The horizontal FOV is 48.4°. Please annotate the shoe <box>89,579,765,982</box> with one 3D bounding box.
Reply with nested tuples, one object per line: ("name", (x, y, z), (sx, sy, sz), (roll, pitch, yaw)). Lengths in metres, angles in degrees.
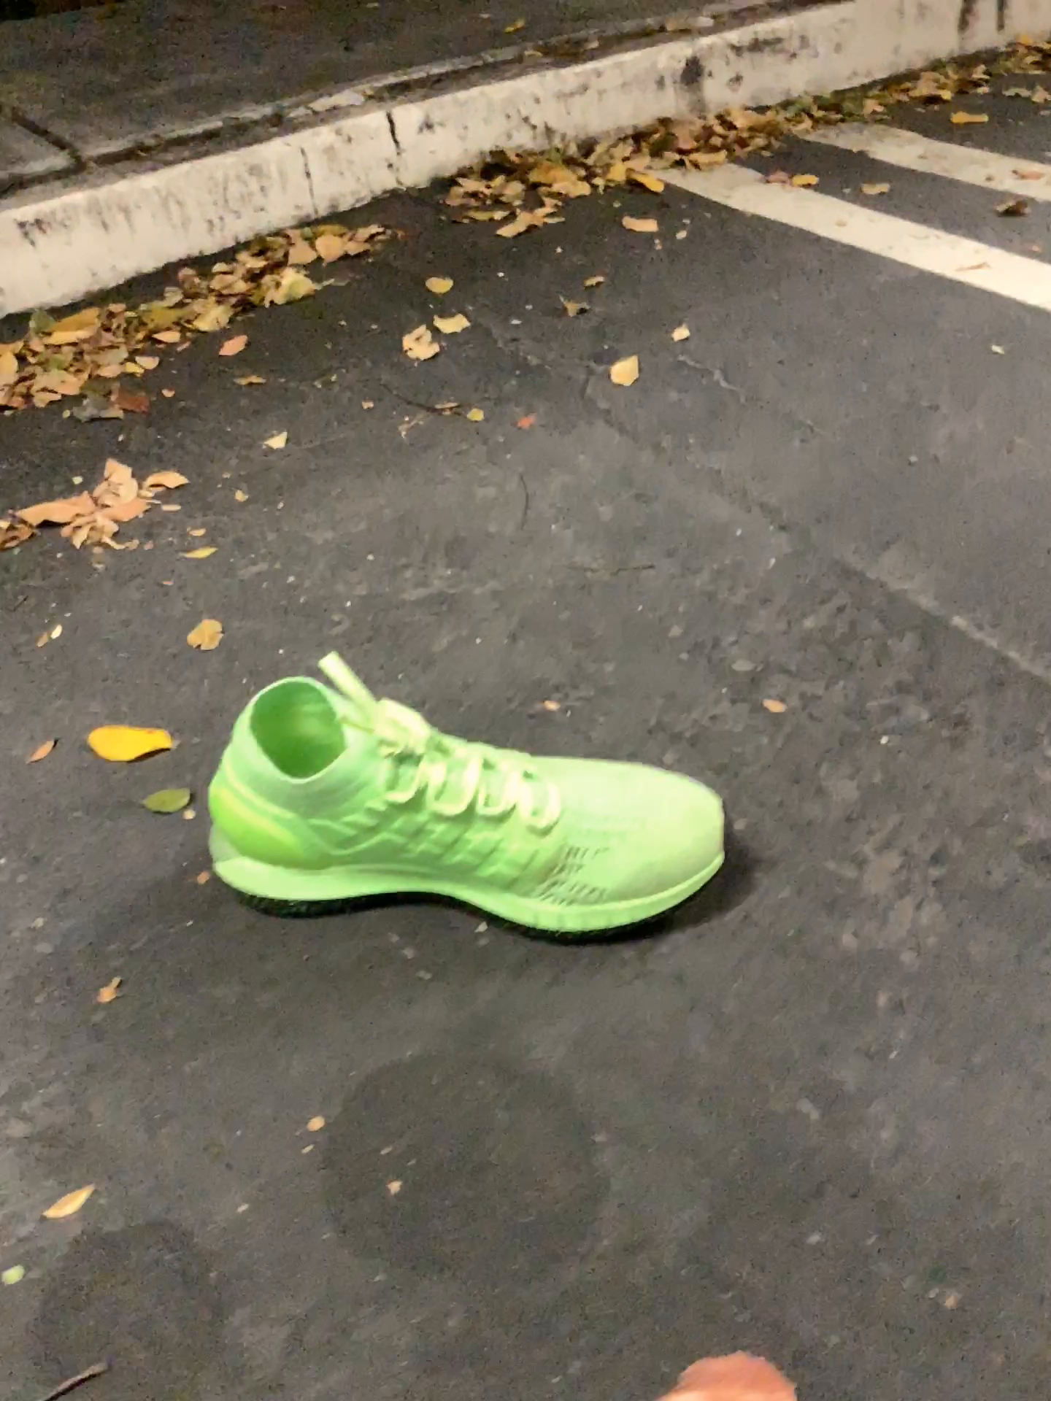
("shoe", (-0.040, 0.035, 0.637), (0.320, 0.150, 0.130), (3, 38, 16))
